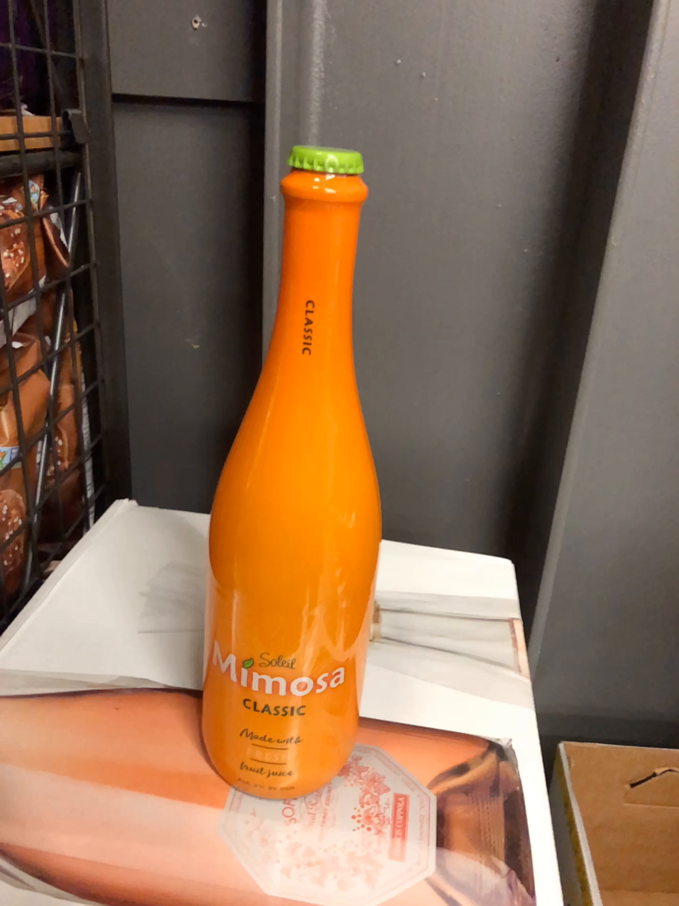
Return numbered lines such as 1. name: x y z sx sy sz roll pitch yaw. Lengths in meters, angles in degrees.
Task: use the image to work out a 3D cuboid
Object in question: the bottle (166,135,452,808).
1. bottle: -0.014 0.014 0.332 0.090 0.279 0.090 3 24 -1
